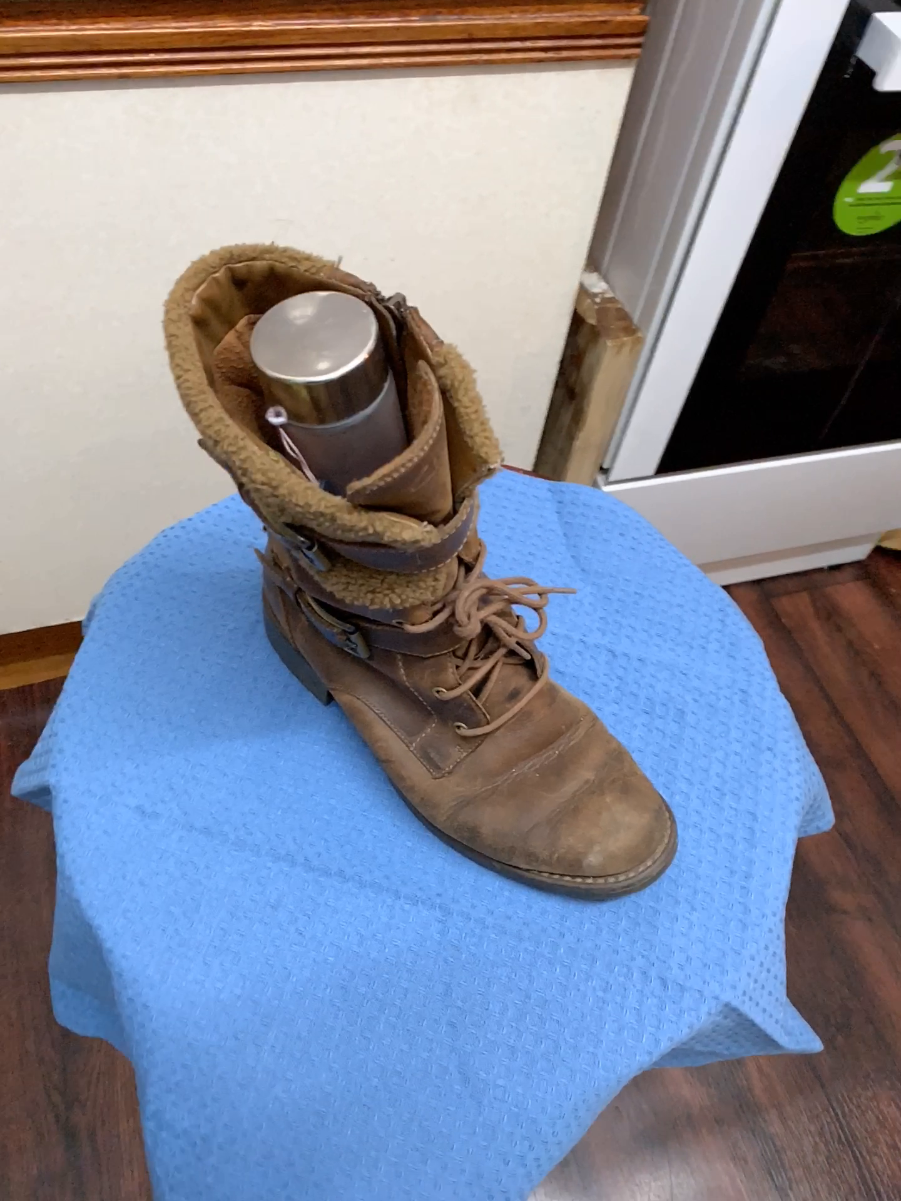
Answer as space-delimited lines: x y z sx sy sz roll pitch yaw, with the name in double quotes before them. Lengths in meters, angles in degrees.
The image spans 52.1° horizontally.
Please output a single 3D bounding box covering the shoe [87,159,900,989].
"shoe" 0.008 0.003 0.383 0.120 0.228 0.251 -40 67 -21
